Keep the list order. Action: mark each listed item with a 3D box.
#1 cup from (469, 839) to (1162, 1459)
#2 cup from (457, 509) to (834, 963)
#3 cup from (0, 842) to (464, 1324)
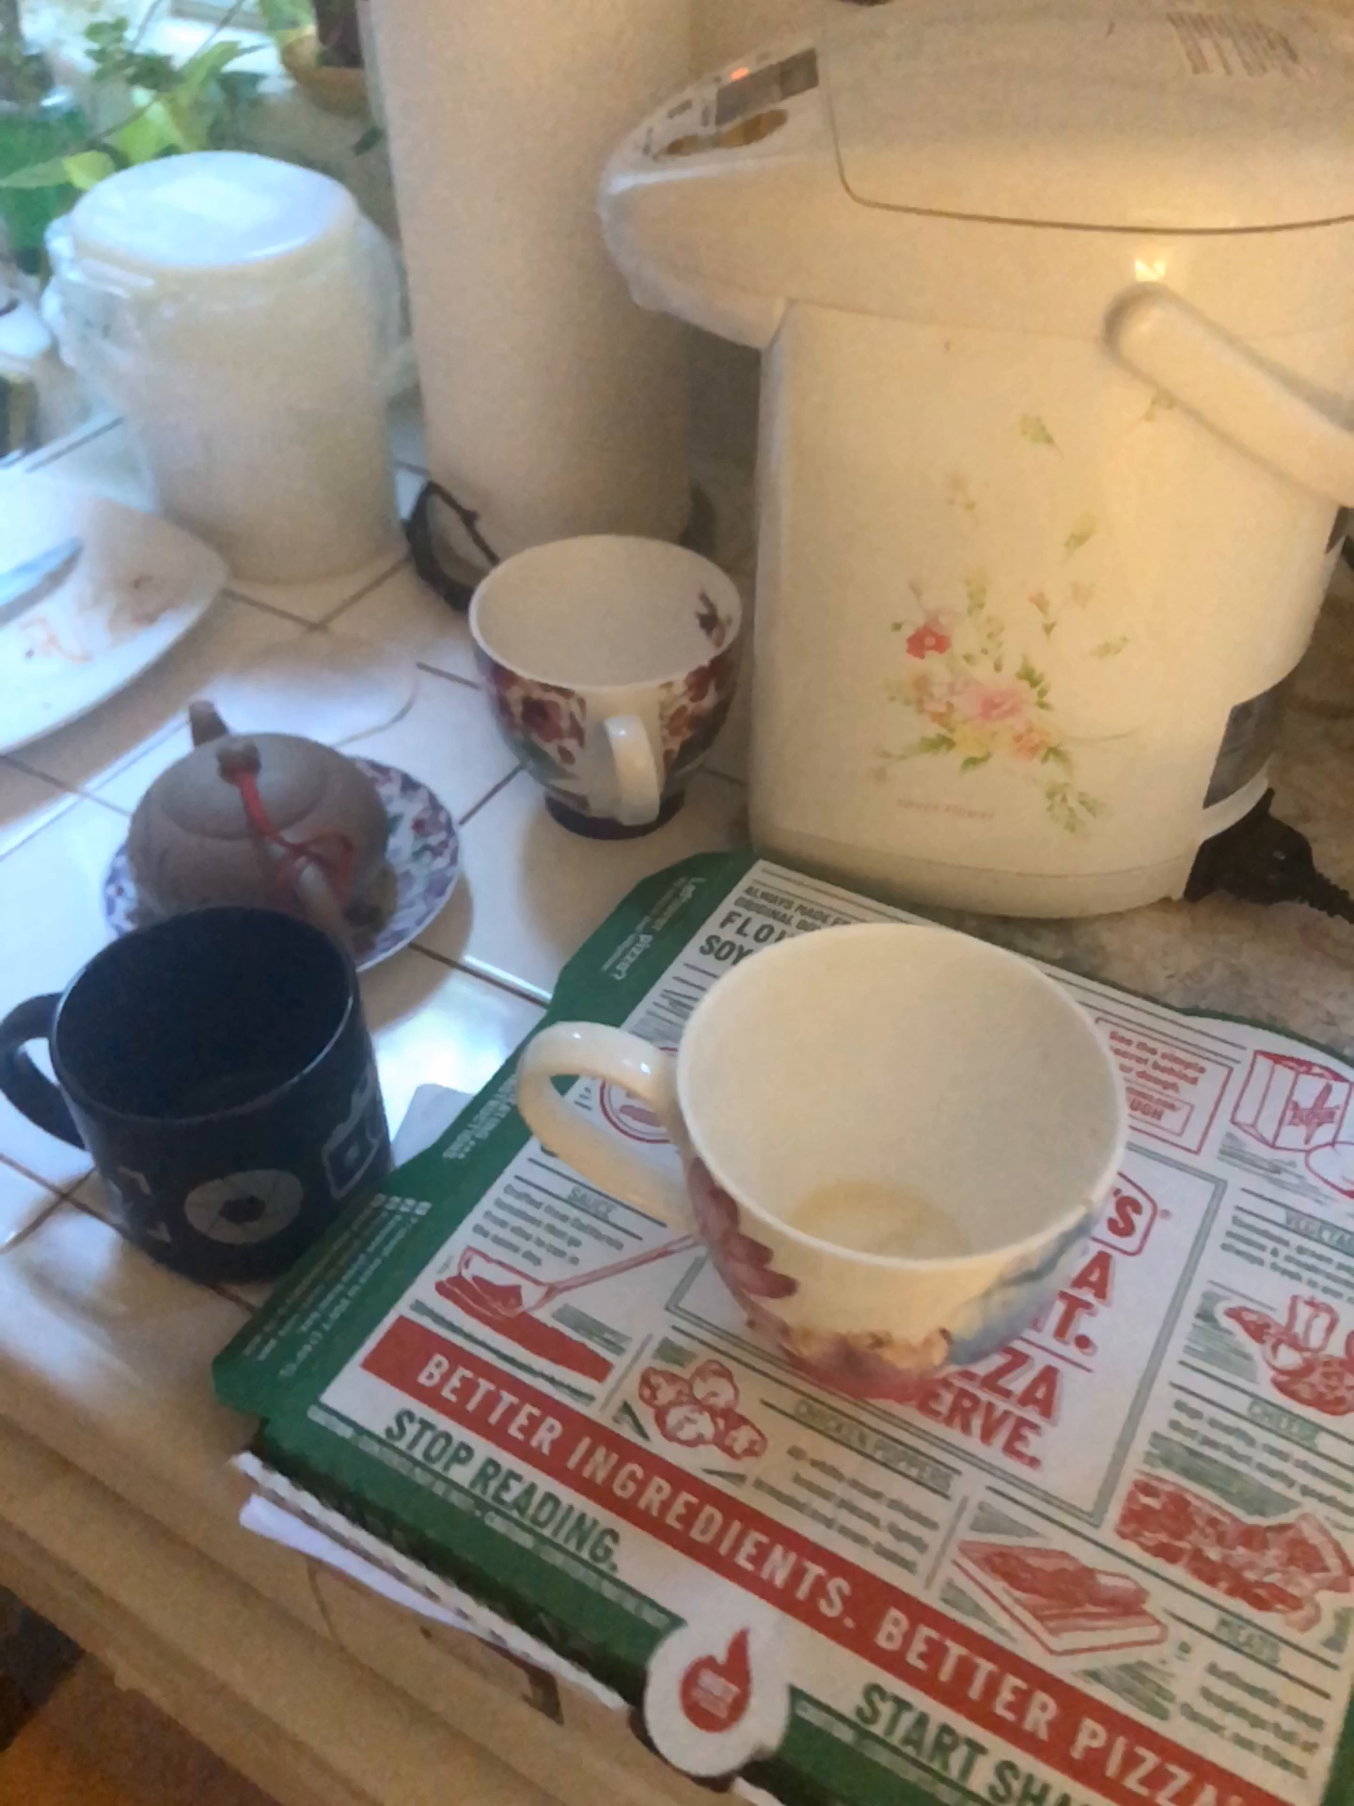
[{"bbox_3d":[0.040,0.058,0.393,0.150,0.069,0.111,11,45,11],"label":"cup"},{"bbox_3d":[-0.018,-0.073,0.611,0.110,0.089,0.161,-11,45,-11],"label":"cup"},{"bbox_3d":[-0.156,0.057,0.492,0.140,0.099,0.091,9,45,10],"label":"cup"}]
